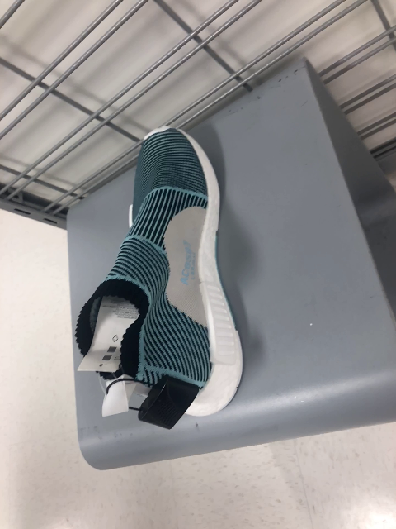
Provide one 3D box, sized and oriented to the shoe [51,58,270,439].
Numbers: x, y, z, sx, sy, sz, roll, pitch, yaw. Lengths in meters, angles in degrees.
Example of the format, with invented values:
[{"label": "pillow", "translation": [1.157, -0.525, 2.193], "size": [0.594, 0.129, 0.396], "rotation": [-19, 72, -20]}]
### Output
[{"label": "shoe", "translation": [-0.044, -0.008, 0.413], "size": [0.120, 0.130, 0.300], "rotation": [-21, 66, 31]}]
